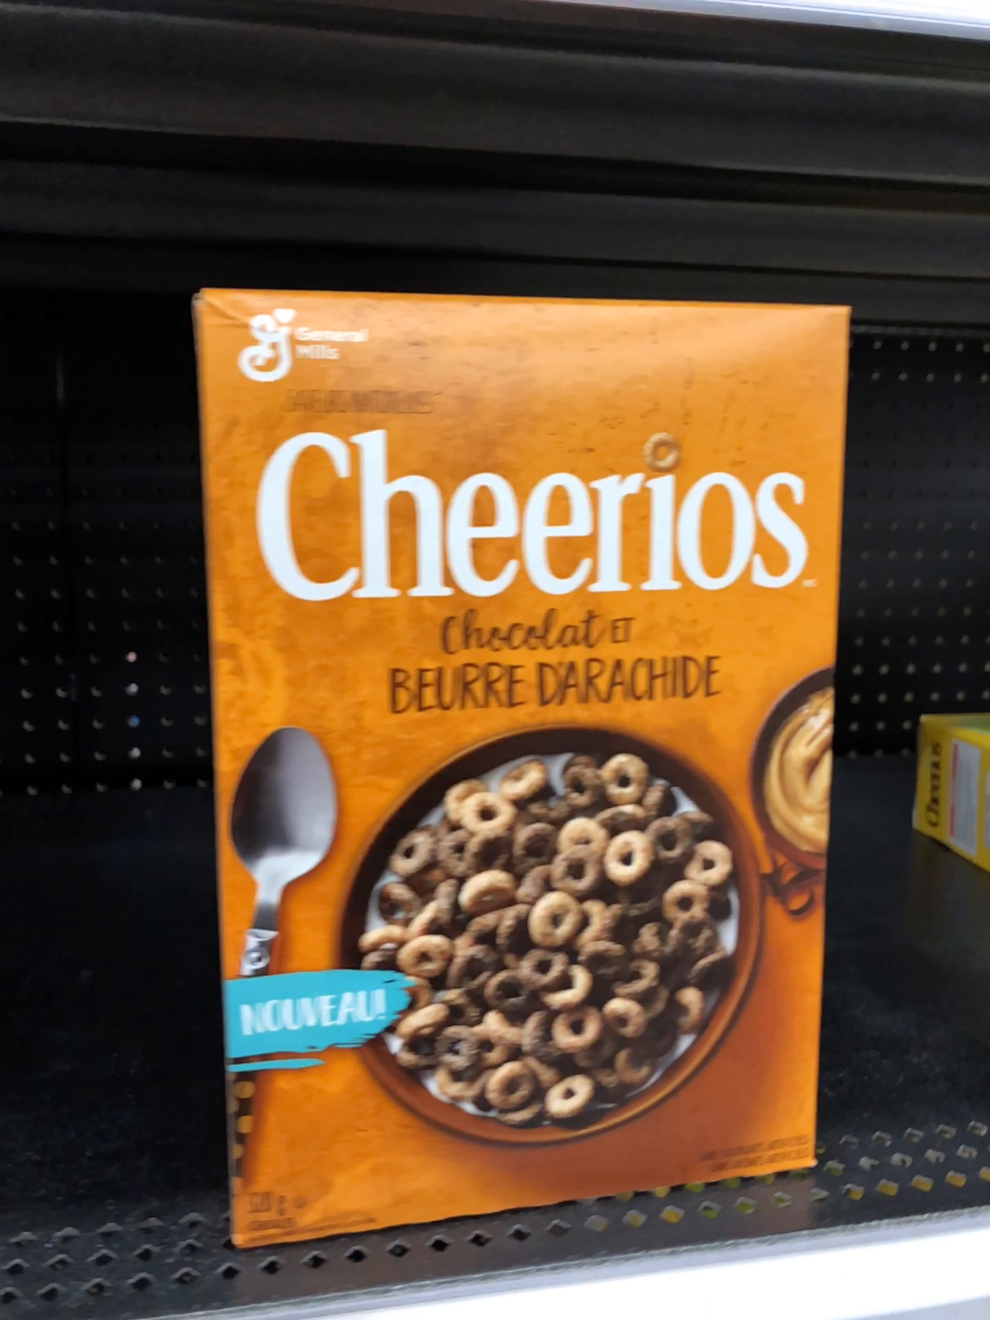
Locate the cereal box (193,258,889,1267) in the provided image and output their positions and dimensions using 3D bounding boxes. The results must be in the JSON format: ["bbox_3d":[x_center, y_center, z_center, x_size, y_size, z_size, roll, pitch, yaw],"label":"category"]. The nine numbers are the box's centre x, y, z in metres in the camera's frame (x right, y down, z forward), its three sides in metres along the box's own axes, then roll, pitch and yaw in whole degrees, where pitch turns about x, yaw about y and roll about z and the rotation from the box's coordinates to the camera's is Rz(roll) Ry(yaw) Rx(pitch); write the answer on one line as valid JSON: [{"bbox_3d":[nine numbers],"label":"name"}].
[{"bbox_3d":[0.012,0.031,0.358,0.200,0.289,0.060,-2,9,-12],"label":"cereal box"}]
